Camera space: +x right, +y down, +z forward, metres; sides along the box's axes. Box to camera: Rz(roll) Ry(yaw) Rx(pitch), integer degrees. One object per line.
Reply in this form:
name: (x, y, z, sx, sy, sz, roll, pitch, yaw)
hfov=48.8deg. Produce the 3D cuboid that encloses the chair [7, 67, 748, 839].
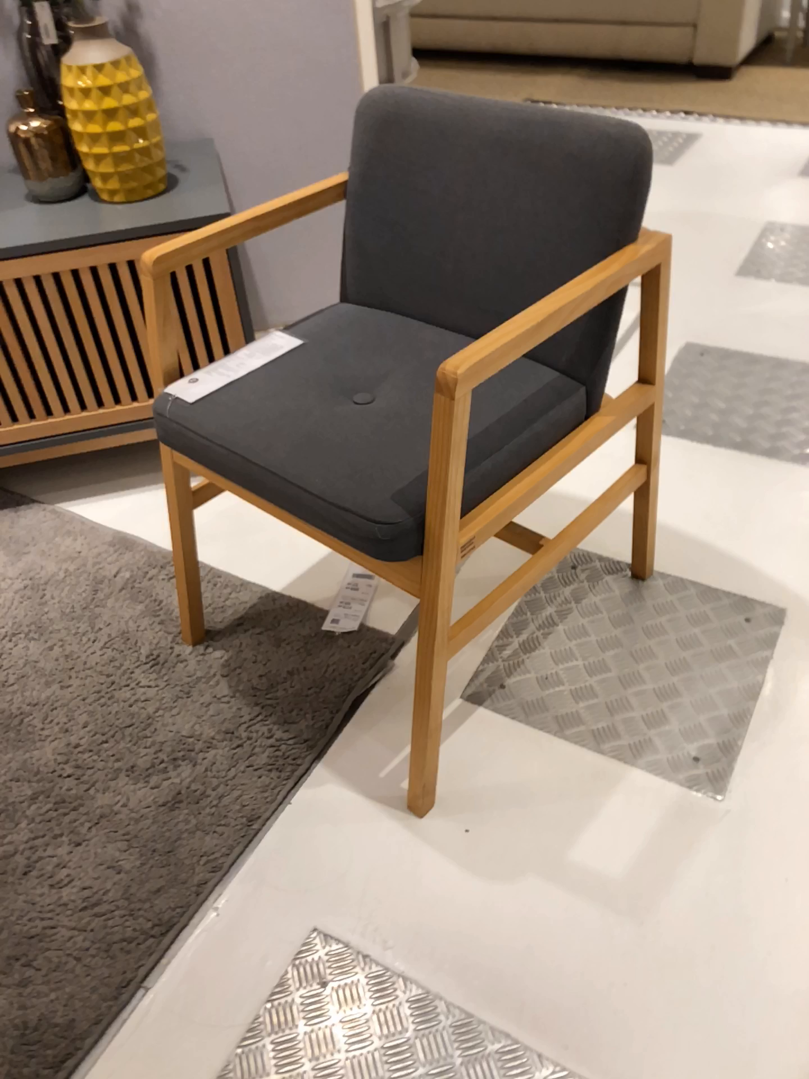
chair: (0.012, -0.176, 1.295, 0.562, 0.733, 0.703, 26, 49, 33)
